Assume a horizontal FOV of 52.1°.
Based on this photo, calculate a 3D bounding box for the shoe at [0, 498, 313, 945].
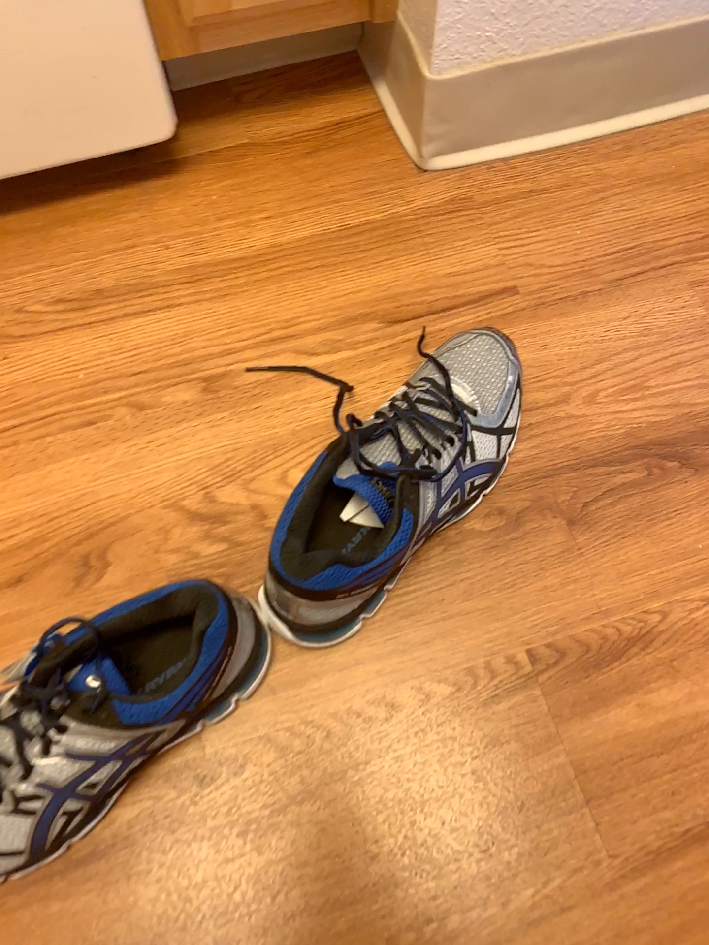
[{"bbox_3d":[-0.188,0.167,0.468,0.300,0.120,0.120,-34,69,-14],"label":"shoe"}]

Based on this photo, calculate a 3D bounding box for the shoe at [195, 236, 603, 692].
[{"bbox_3d":[0.043,-0.013,0.560,0.120,0.110,0.330,33,70,15],"label":"shoe"}]
